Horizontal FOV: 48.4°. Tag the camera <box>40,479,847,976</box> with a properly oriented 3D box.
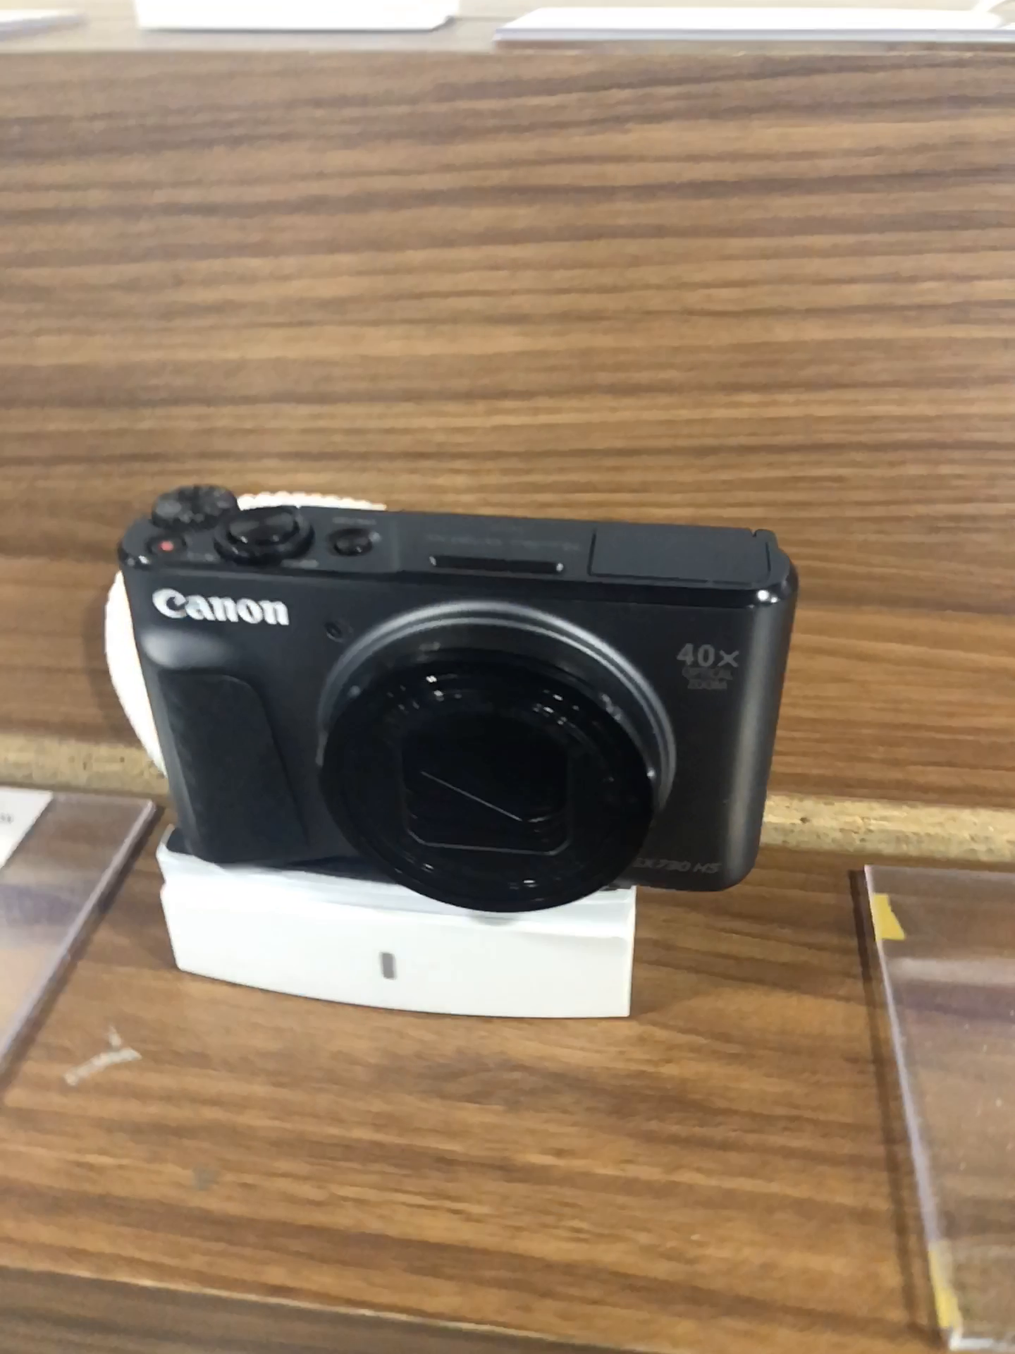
[{"bbox_3d":[-0.008,0.008,0.183,0.109,0.063,0.037,4,36,7],"label":"camera"}]
